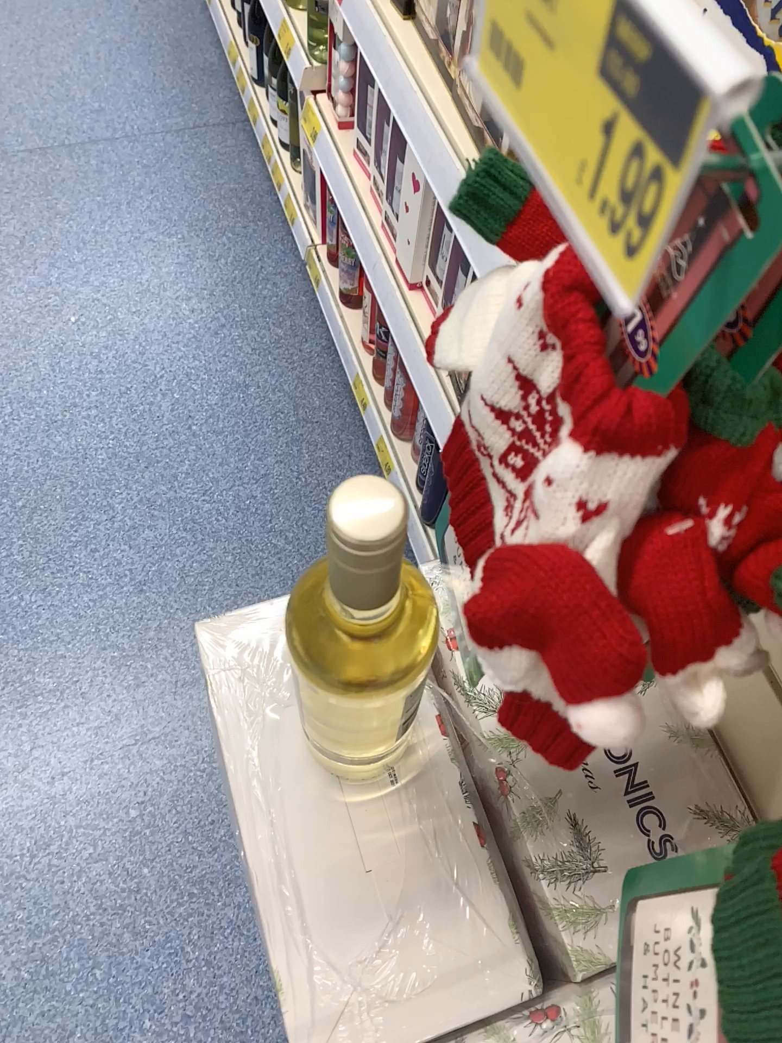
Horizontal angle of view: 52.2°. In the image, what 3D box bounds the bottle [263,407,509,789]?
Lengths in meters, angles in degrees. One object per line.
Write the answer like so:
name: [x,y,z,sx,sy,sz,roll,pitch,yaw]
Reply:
bottle: [-0.010,0.064,0.410,0.073,0.286,0.073,2,61,-4]
